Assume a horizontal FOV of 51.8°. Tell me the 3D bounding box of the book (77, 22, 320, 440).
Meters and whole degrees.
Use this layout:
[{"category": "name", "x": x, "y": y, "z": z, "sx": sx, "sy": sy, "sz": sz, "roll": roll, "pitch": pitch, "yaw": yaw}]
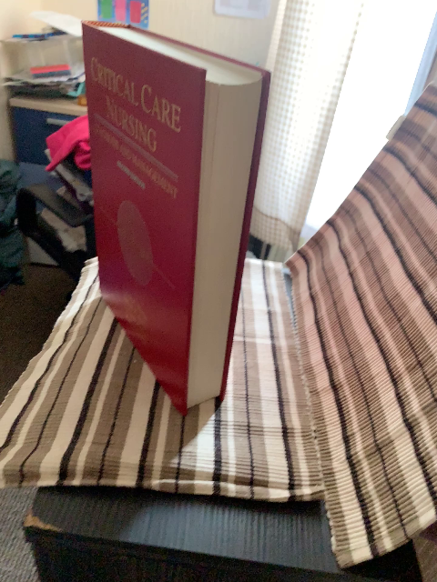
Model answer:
[{"category": "book", "x": -0.046, "y": -0.062, "z": 0.409, "sx": 0.060, "sy": 0.287, "sz": 0.252, "roll": -16, "pitch": 40, "yaw": -29}]
